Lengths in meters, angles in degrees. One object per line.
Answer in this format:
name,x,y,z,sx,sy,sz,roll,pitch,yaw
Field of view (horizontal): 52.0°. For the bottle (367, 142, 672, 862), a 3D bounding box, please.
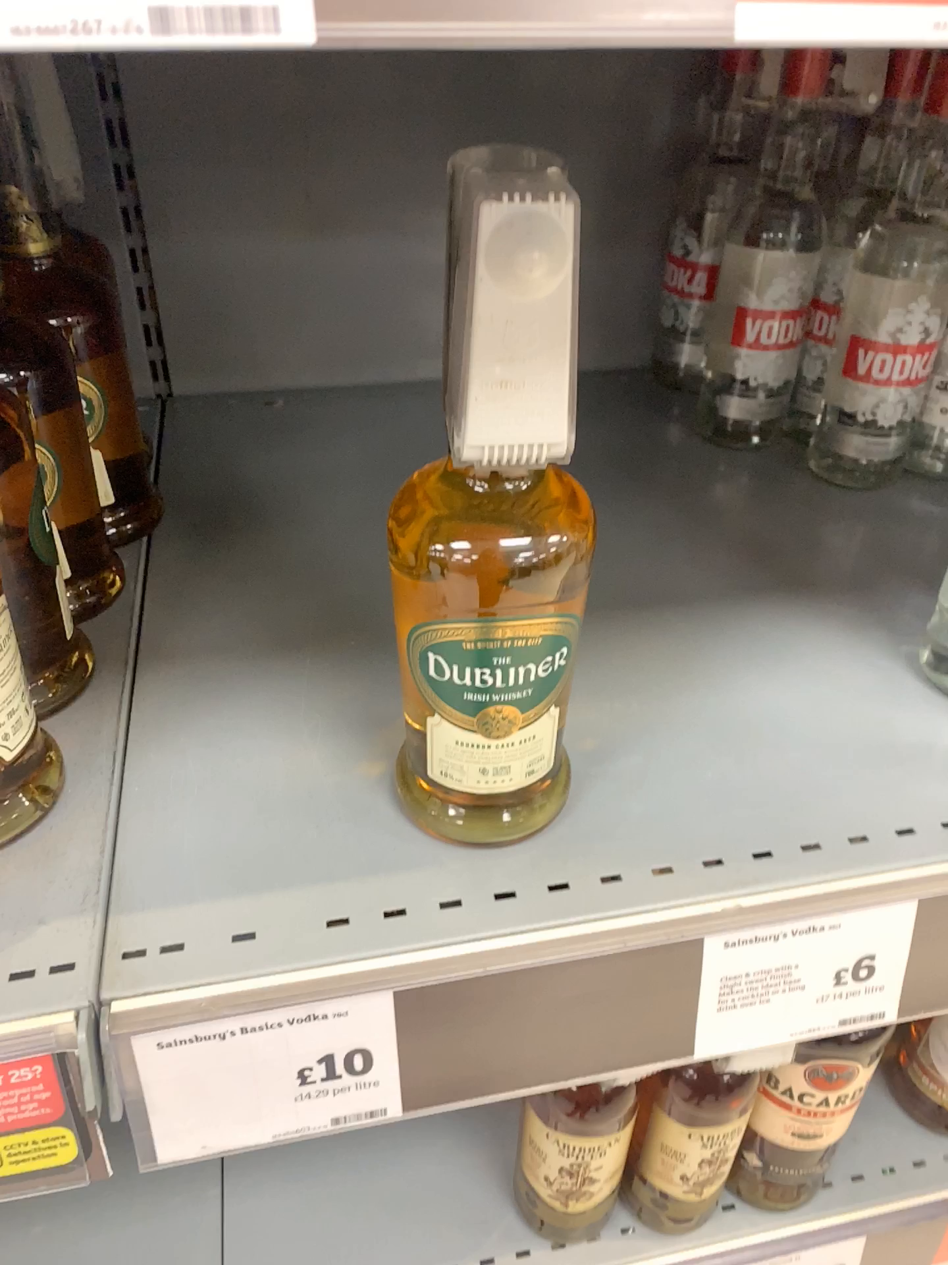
bottle,0.010,-0.037,0.401,0.089,0.283,0.091,0,36,0
